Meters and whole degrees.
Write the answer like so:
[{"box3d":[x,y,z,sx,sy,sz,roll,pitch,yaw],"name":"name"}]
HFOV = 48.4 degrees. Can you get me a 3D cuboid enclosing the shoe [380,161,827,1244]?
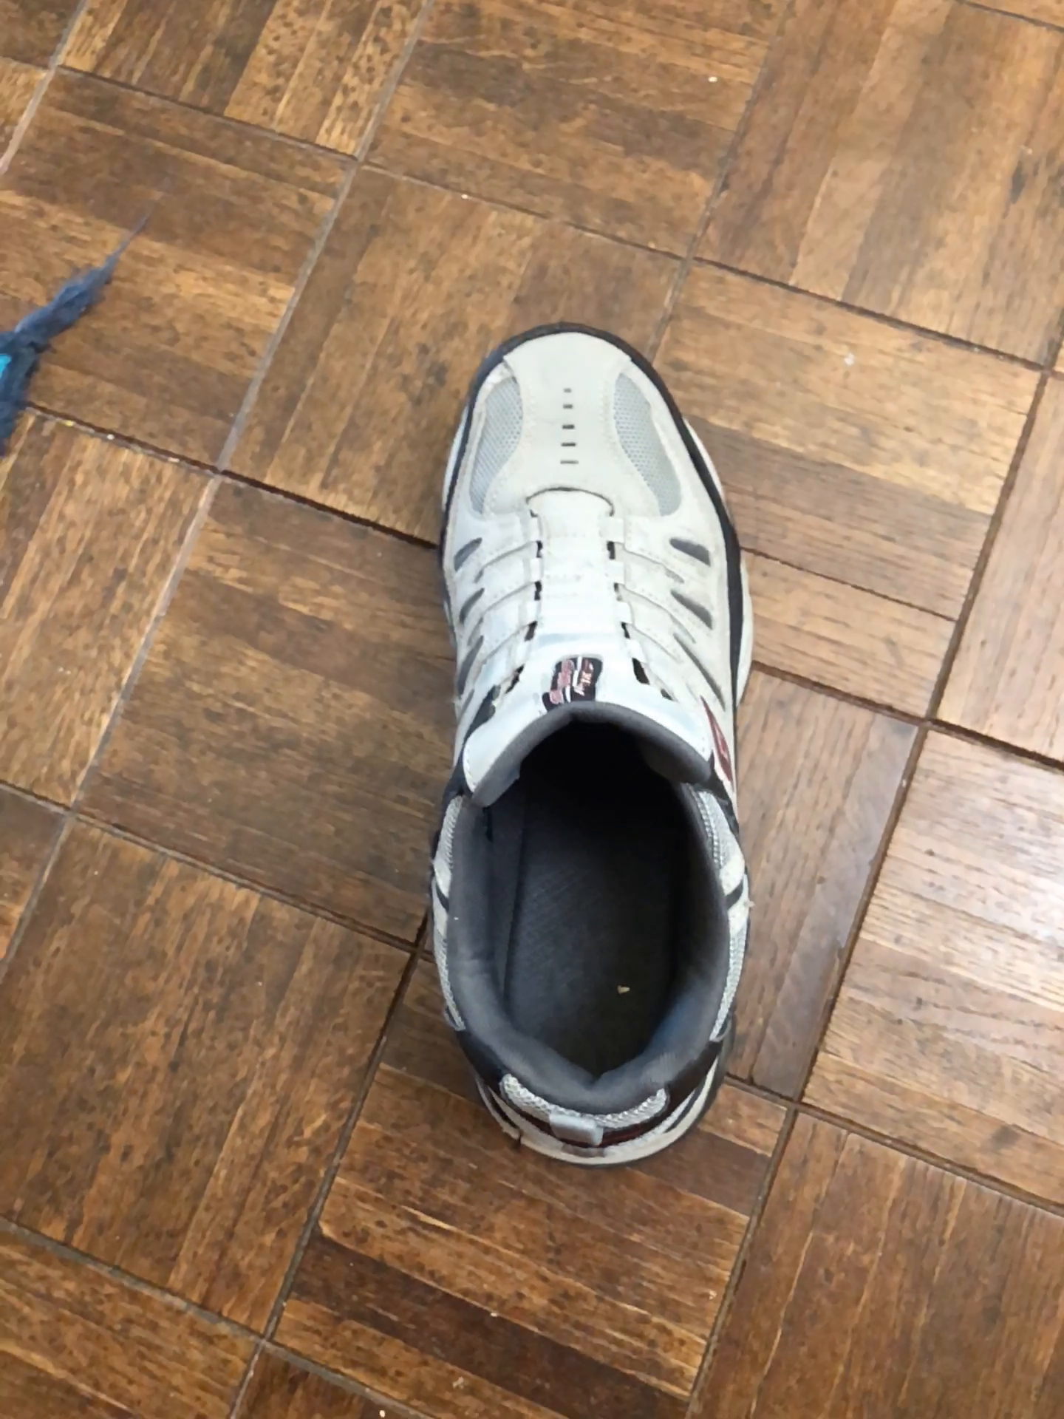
[{"box3d":[0.022,0.000,0.421,0.120,0.150,0.320,-1,79,4],"name":"shoe"}]
